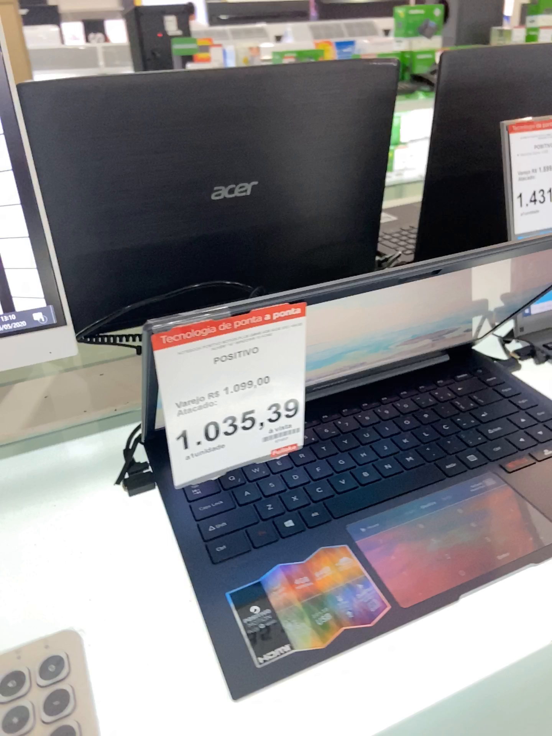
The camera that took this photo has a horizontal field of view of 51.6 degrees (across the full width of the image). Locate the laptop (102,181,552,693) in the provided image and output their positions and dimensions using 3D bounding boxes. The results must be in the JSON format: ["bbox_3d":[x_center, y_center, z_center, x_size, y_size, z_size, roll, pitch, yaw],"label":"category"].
[{"bbox_3d":[0.084,0.001,0.389,0.334,0.163,0.223,-14,33,-19],"label":"laptop"}]
